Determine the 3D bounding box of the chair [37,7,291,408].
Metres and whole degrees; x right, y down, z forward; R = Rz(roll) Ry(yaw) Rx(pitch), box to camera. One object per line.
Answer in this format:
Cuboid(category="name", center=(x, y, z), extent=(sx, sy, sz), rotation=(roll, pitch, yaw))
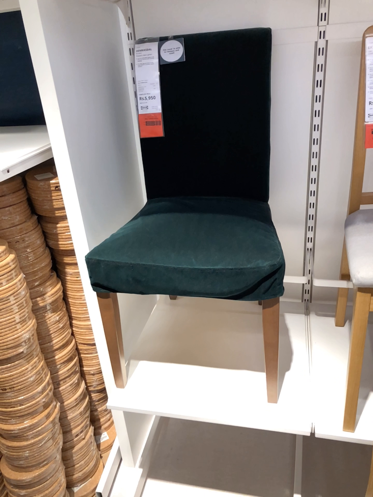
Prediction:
Cuboid(category="chair", center=(0.031, -0.111, 1.154), extent=(0.470, 0.914, 0.513), rotation=(1, 26, 12))
